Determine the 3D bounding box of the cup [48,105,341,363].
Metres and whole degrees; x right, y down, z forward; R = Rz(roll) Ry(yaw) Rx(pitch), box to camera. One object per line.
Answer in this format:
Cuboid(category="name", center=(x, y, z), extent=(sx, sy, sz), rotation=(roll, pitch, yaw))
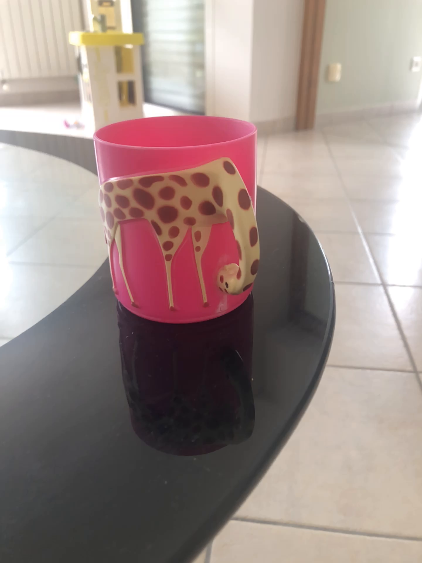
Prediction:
Cuboid(category="cup", center=(-0.008, -0.029, 0.197), extent=(0.070, 0.070, 0.090), rotation=(-25, 36, -39))
